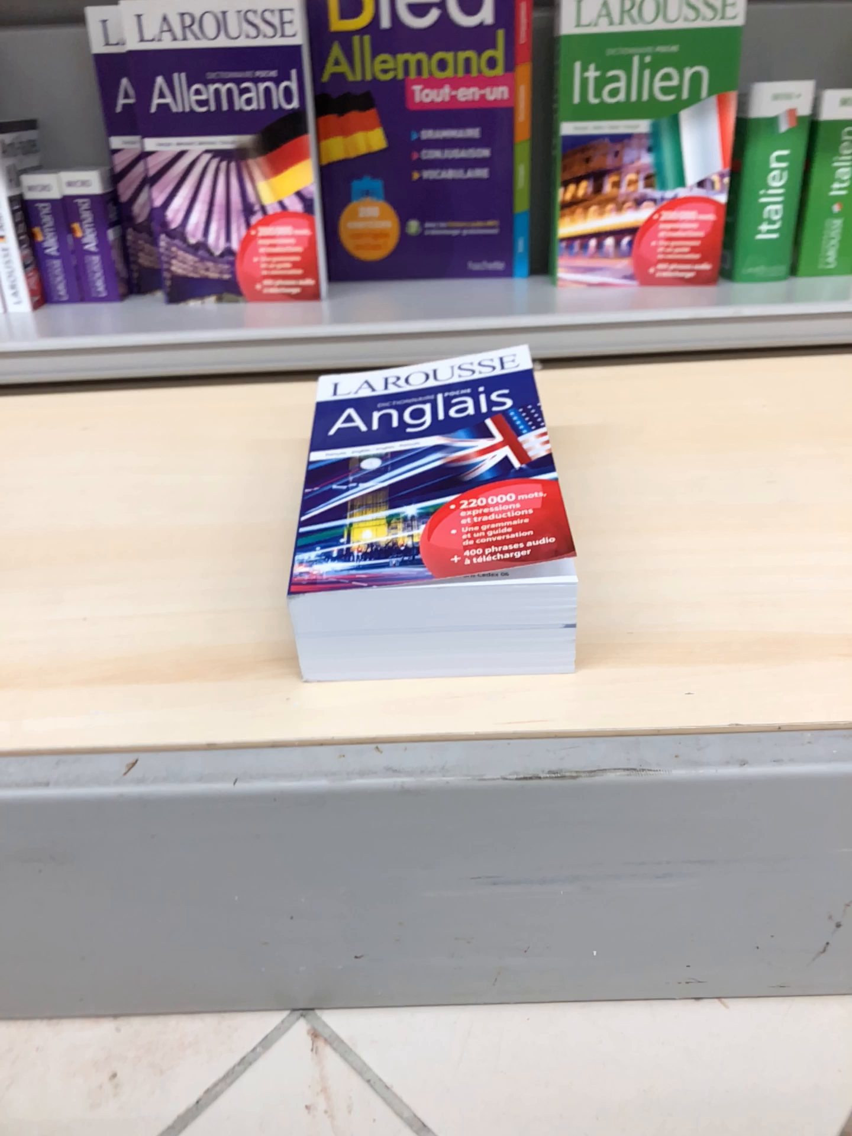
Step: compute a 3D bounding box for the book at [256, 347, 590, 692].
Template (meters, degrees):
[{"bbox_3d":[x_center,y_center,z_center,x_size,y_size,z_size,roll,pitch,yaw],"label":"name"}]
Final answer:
[{"bbox_3d":[-0.002,-0.032,0.418,0.117,0.054,0.182,-2,38,0],"label":"book"}]
